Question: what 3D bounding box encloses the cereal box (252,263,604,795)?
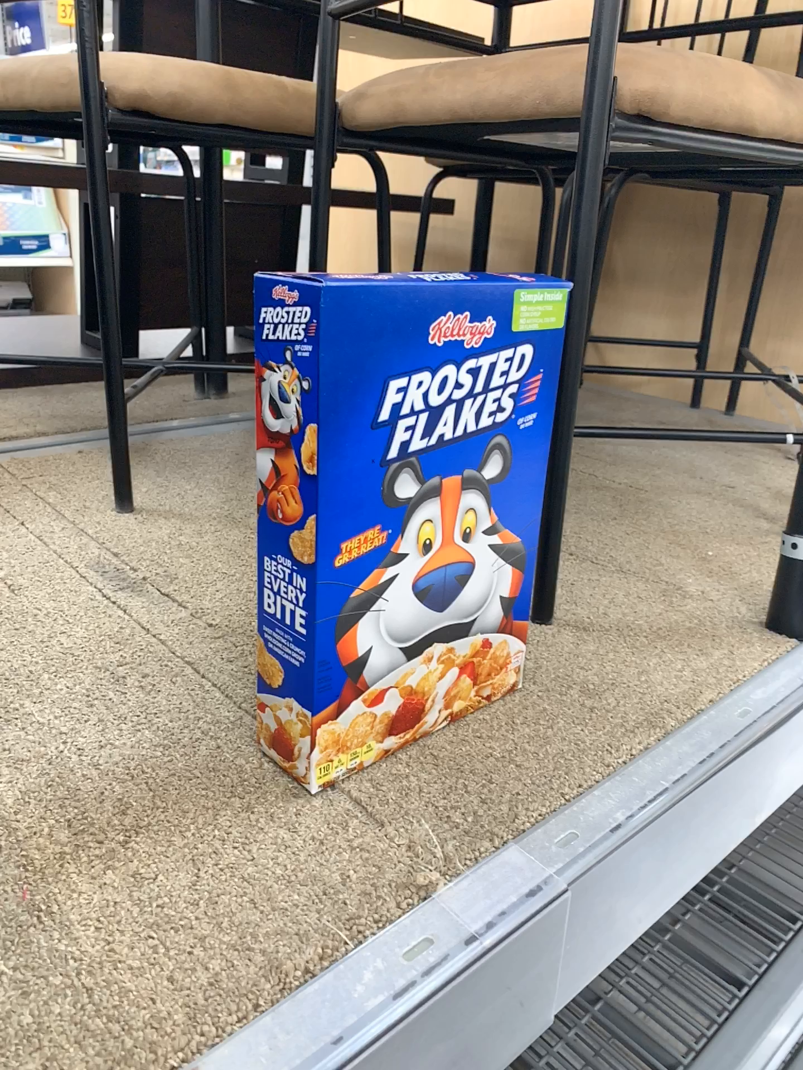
[{"bbox_3d":[0.016,-0.016,0.519,0.210,0.289,0.070,-15,28,-40],"label":"cereal box"}]
